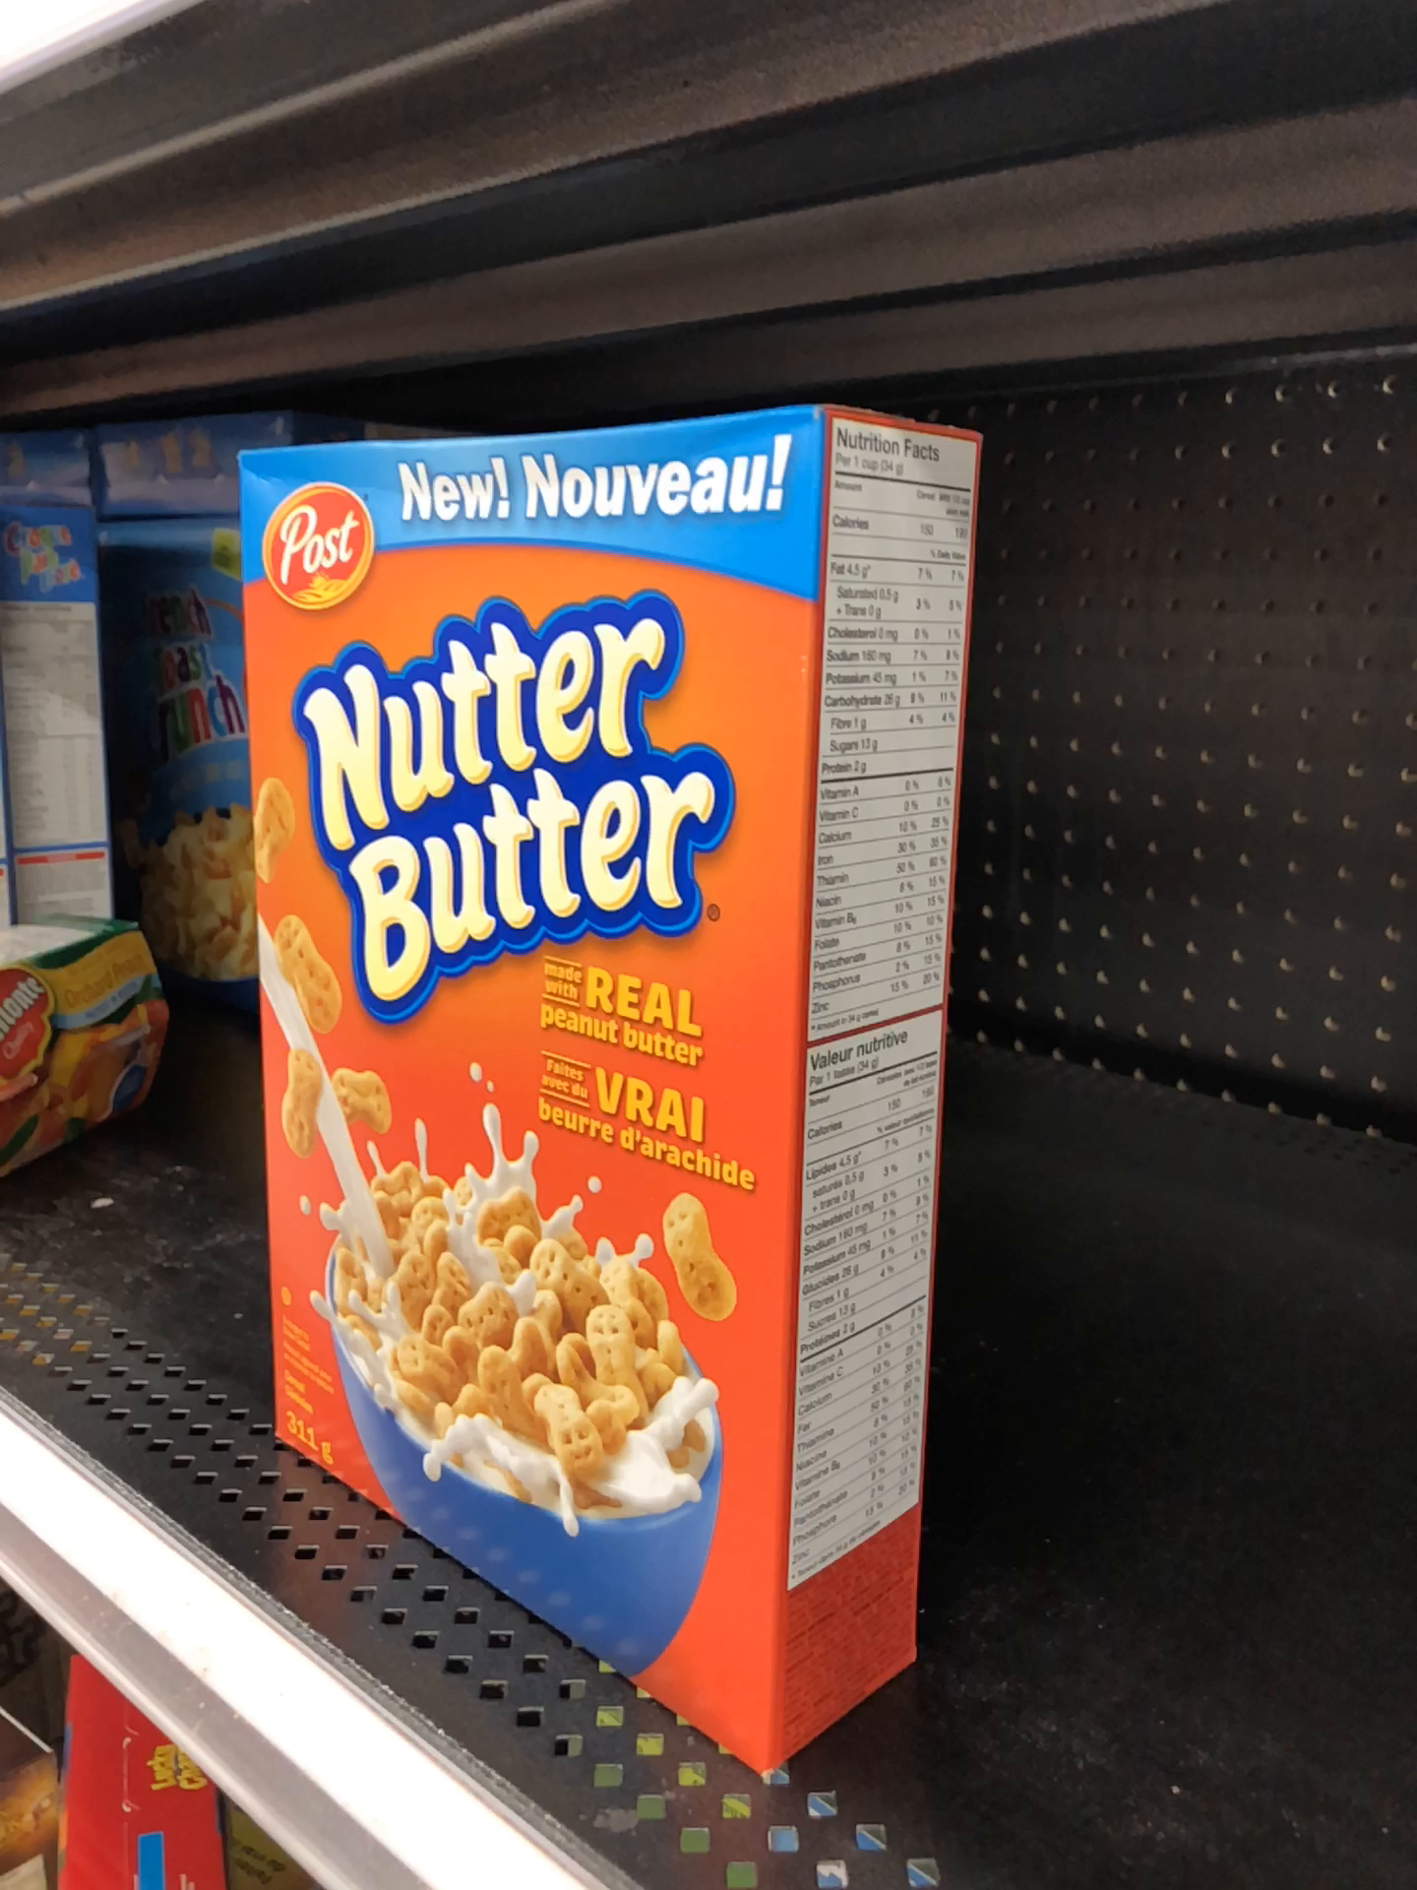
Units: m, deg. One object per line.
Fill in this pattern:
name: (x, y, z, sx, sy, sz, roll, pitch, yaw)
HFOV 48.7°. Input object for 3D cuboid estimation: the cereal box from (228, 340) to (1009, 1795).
cereal box: (-0.032, 0.016, 0.375, 0.190, 0.279, 0.060, 12, 16, 43)
